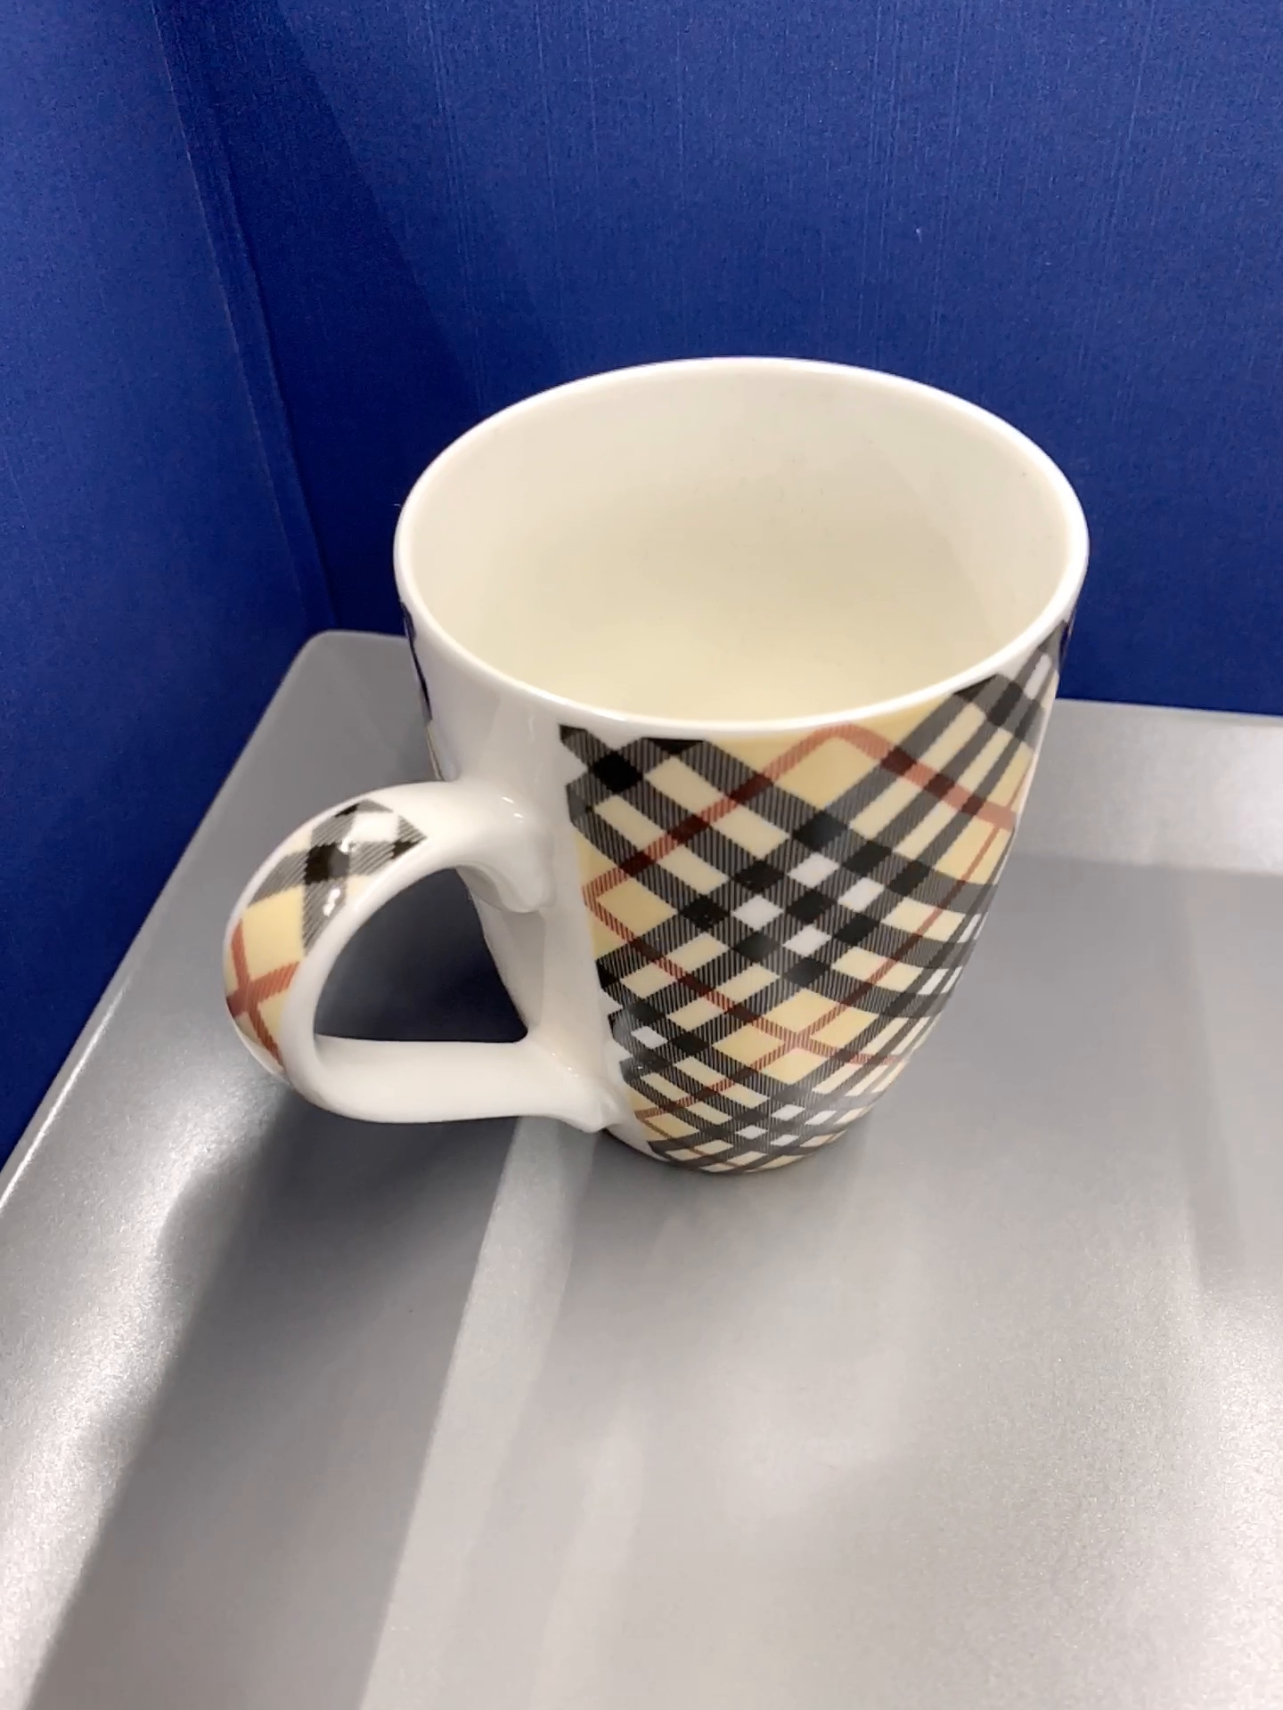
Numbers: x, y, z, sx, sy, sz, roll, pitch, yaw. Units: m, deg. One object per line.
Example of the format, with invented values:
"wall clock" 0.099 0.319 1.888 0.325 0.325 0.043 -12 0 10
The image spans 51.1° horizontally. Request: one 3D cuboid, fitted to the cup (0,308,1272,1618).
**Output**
"cup" -0.001 0.005 0.185 0.121 0.104 0.091 -33 50 -29
